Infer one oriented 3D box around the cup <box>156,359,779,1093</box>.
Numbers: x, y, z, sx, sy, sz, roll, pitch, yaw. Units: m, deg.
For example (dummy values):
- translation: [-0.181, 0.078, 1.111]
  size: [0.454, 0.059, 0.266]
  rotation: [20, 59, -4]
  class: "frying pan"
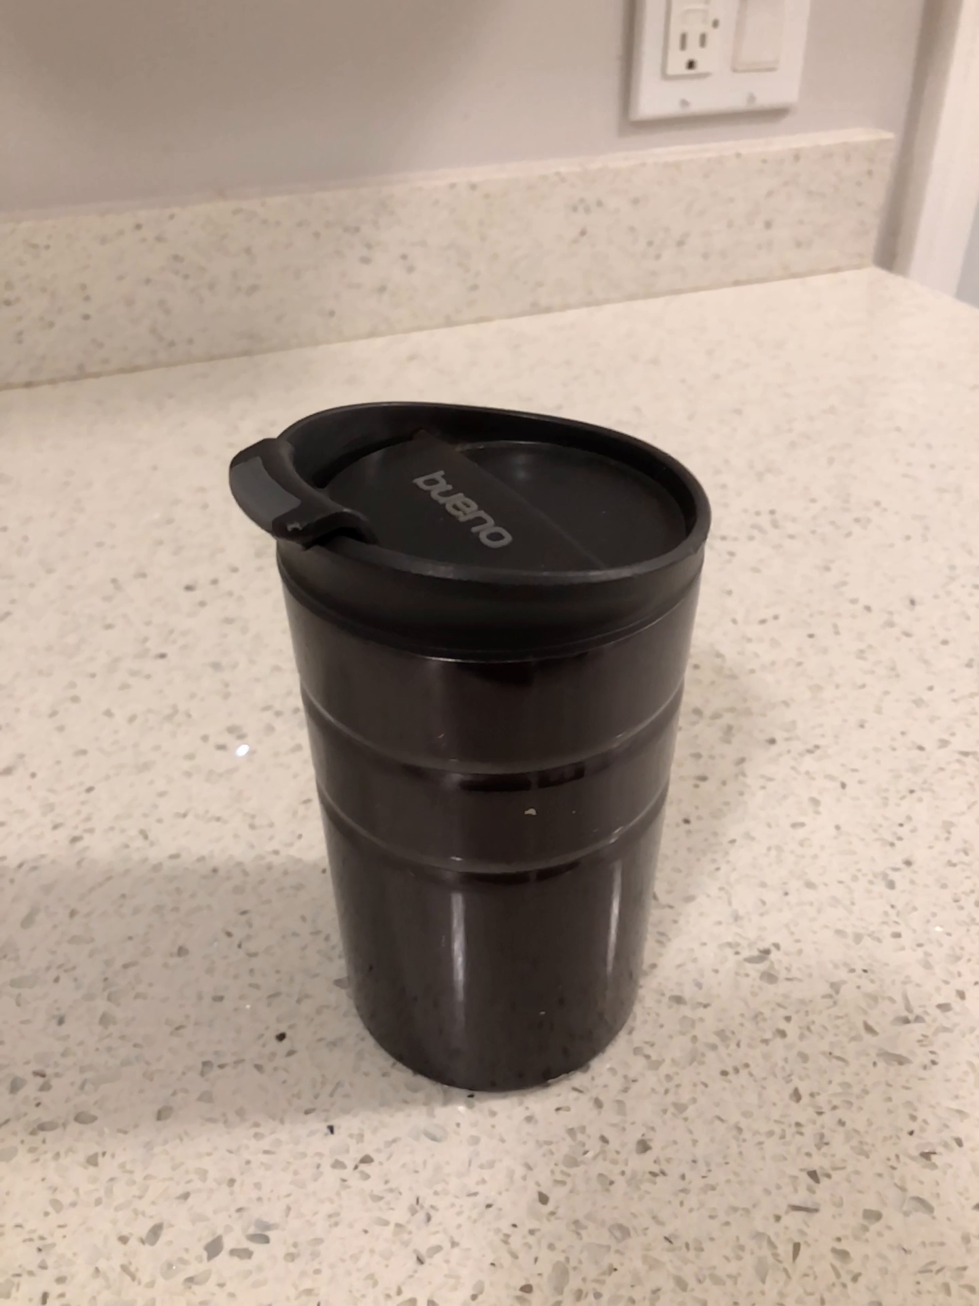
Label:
- translation: [-0.002, 0.014, 0.217]
  size: [0.084, 0.116, 0.087]
  rotation: [0, 35, 0]
  class: "cup"
